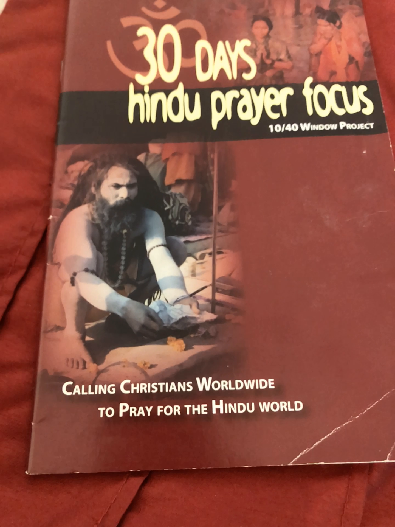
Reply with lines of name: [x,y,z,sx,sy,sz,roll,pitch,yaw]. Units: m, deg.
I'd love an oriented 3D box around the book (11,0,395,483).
book: [0.010,-0.032,0.177,0.141,0.010,0.210,-1,72,-2]
